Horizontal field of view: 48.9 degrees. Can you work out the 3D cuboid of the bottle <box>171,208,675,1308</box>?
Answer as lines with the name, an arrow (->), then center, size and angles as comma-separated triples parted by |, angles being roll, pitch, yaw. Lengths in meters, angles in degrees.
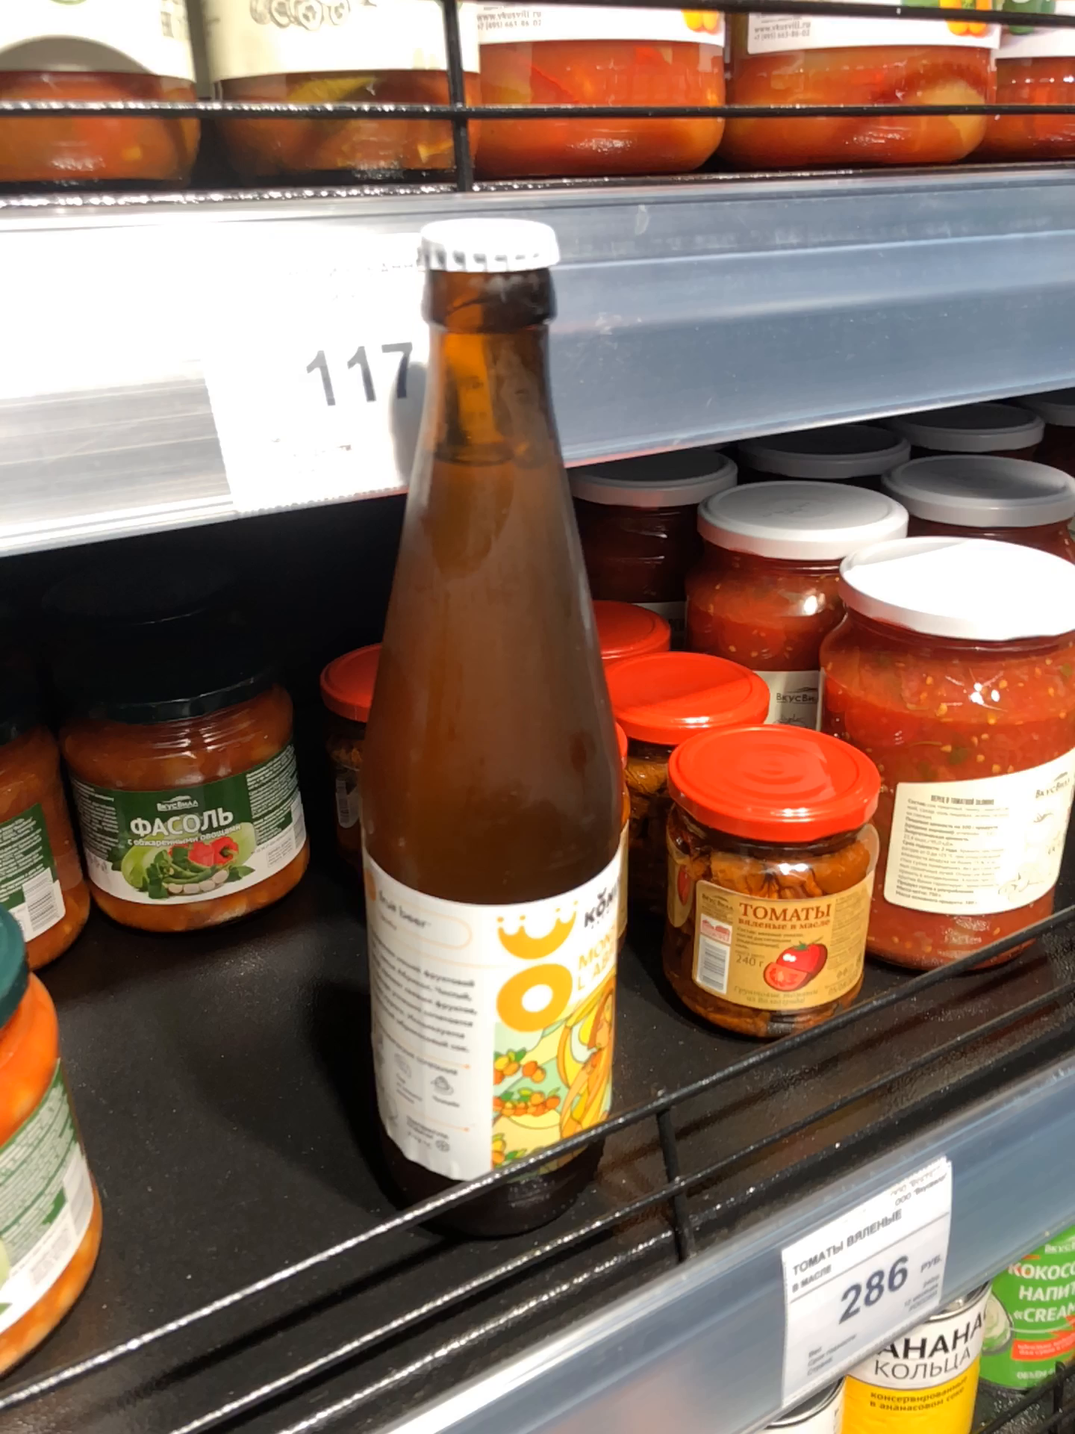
bottle -> -0.020, 0.015, 0.287 | 0.070, 0.249, 0.070 | -1, 26, 0
